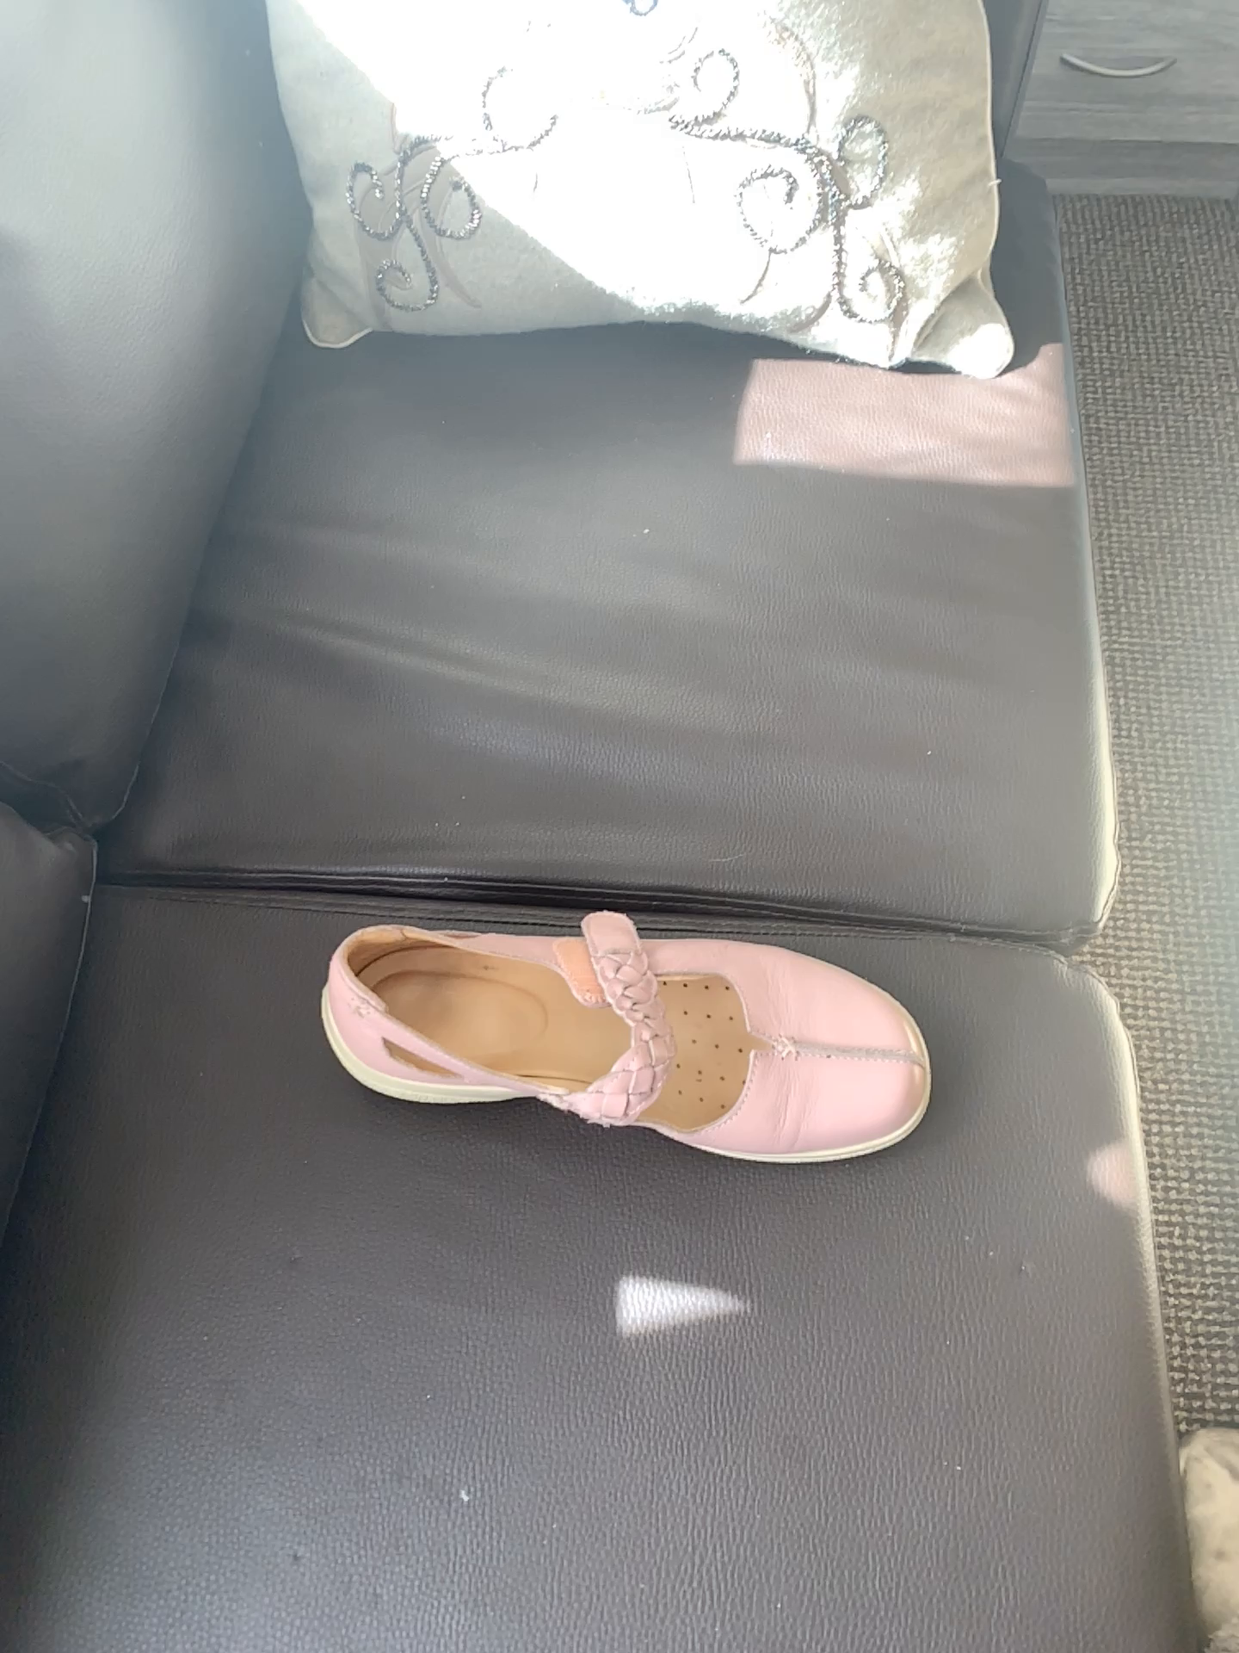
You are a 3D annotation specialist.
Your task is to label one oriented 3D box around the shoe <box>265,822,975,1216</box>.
[{"bbox_3d":[0.004,0.082,0.528,0.260,0.099,0.105,7,64,5],"label":"shoe"}]
